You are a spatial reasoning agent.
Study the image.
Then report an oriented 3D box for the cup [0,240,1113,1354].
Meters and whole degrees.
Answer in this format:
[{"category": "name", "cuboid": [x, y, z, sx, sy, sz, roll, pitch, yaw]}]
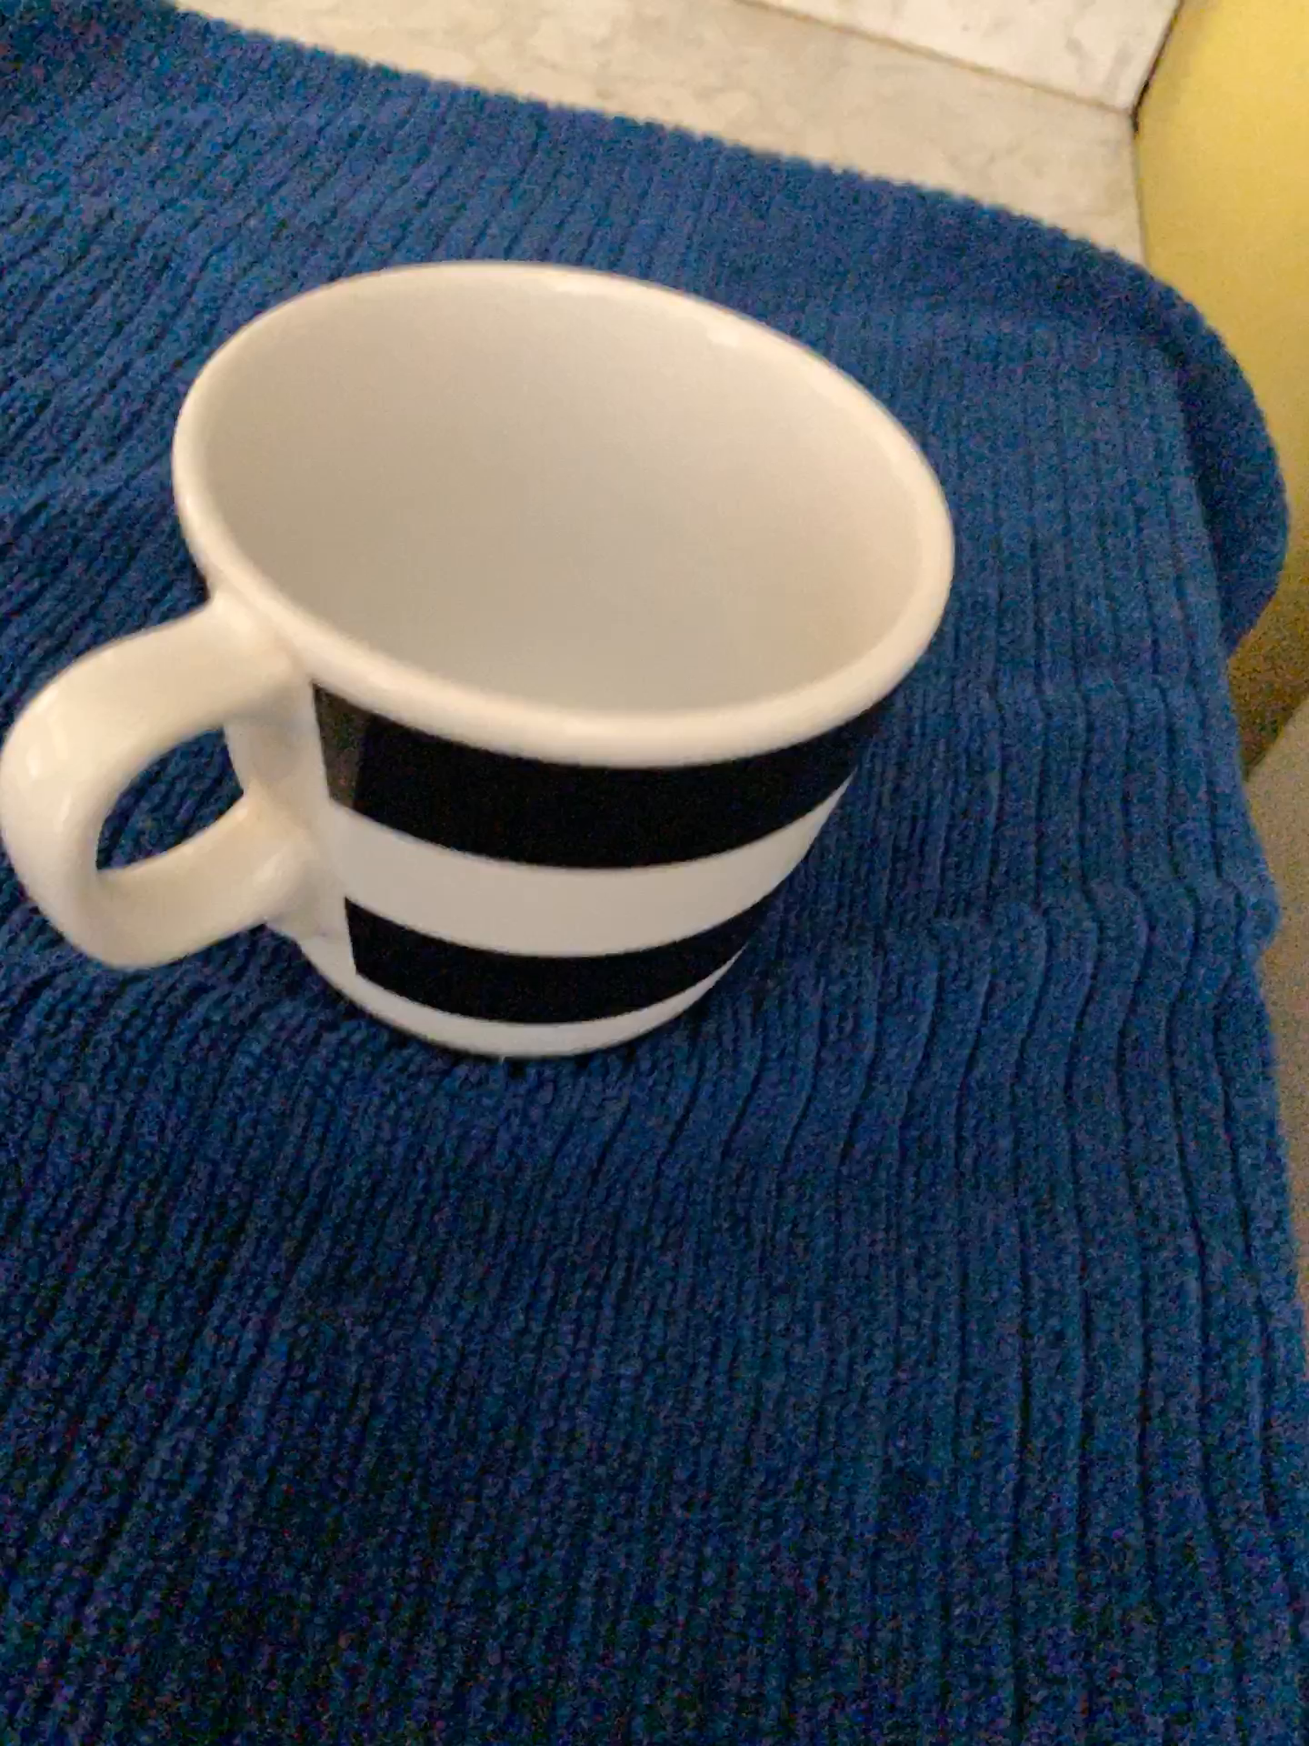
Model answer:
[{"category": "cup", "cuboid": [-0.018, -0.021, 0.168, 0.085, 0.057, 0.113, 39, 51, 22]}]
